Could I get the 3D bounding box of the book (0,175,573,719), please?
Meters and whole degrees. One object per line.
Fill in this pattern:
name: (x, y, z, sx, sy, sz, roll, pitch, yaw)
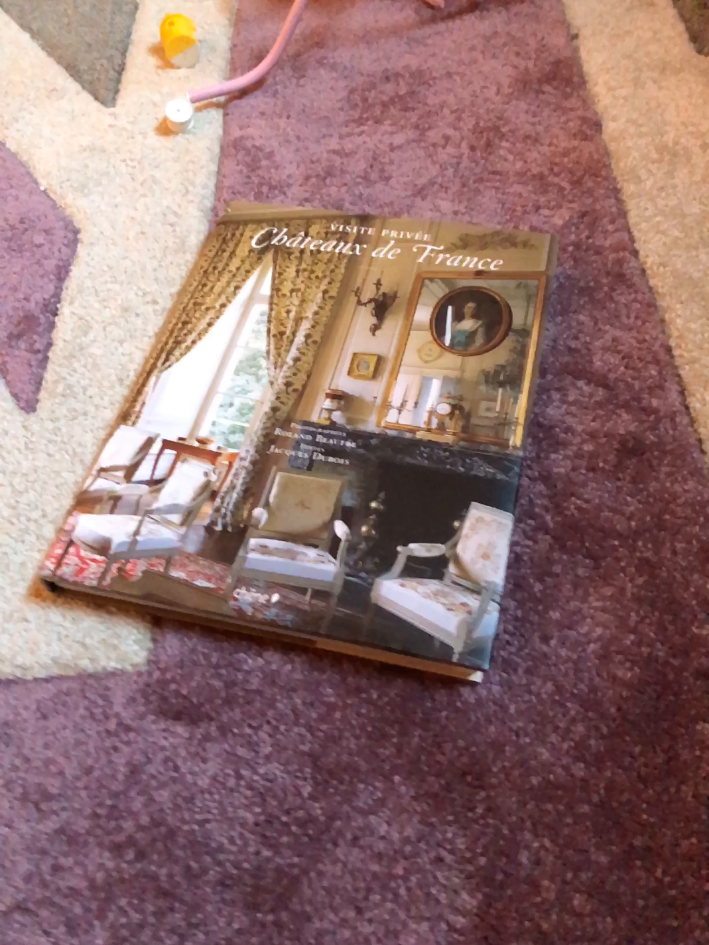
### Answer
book: (-0.017, -0.049, 0.492, 0.260, 0.050, 0.342, 10, 58, 12)
